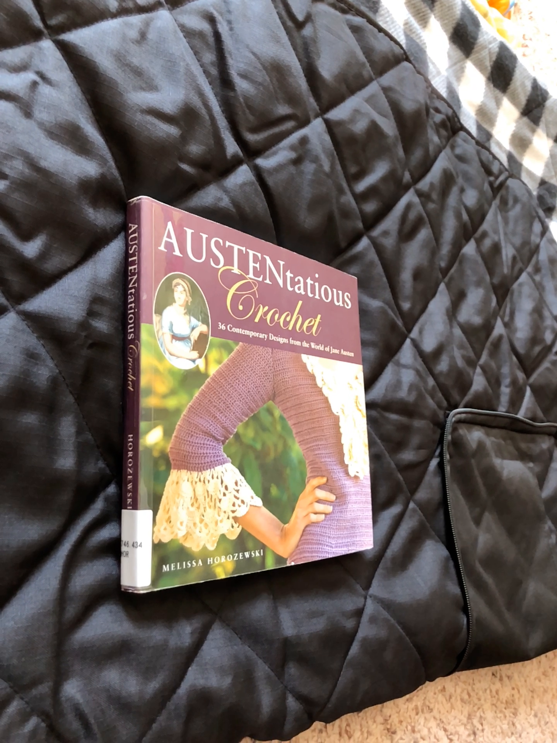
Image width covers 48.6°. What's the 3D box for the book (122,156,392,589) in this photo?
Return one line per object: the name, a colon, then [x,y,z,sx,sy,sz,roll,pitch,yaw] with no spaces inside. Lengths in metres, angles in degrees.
book: [-0.002,0.006,0.410,0.221,0.020,0.230,8,75,-47]
